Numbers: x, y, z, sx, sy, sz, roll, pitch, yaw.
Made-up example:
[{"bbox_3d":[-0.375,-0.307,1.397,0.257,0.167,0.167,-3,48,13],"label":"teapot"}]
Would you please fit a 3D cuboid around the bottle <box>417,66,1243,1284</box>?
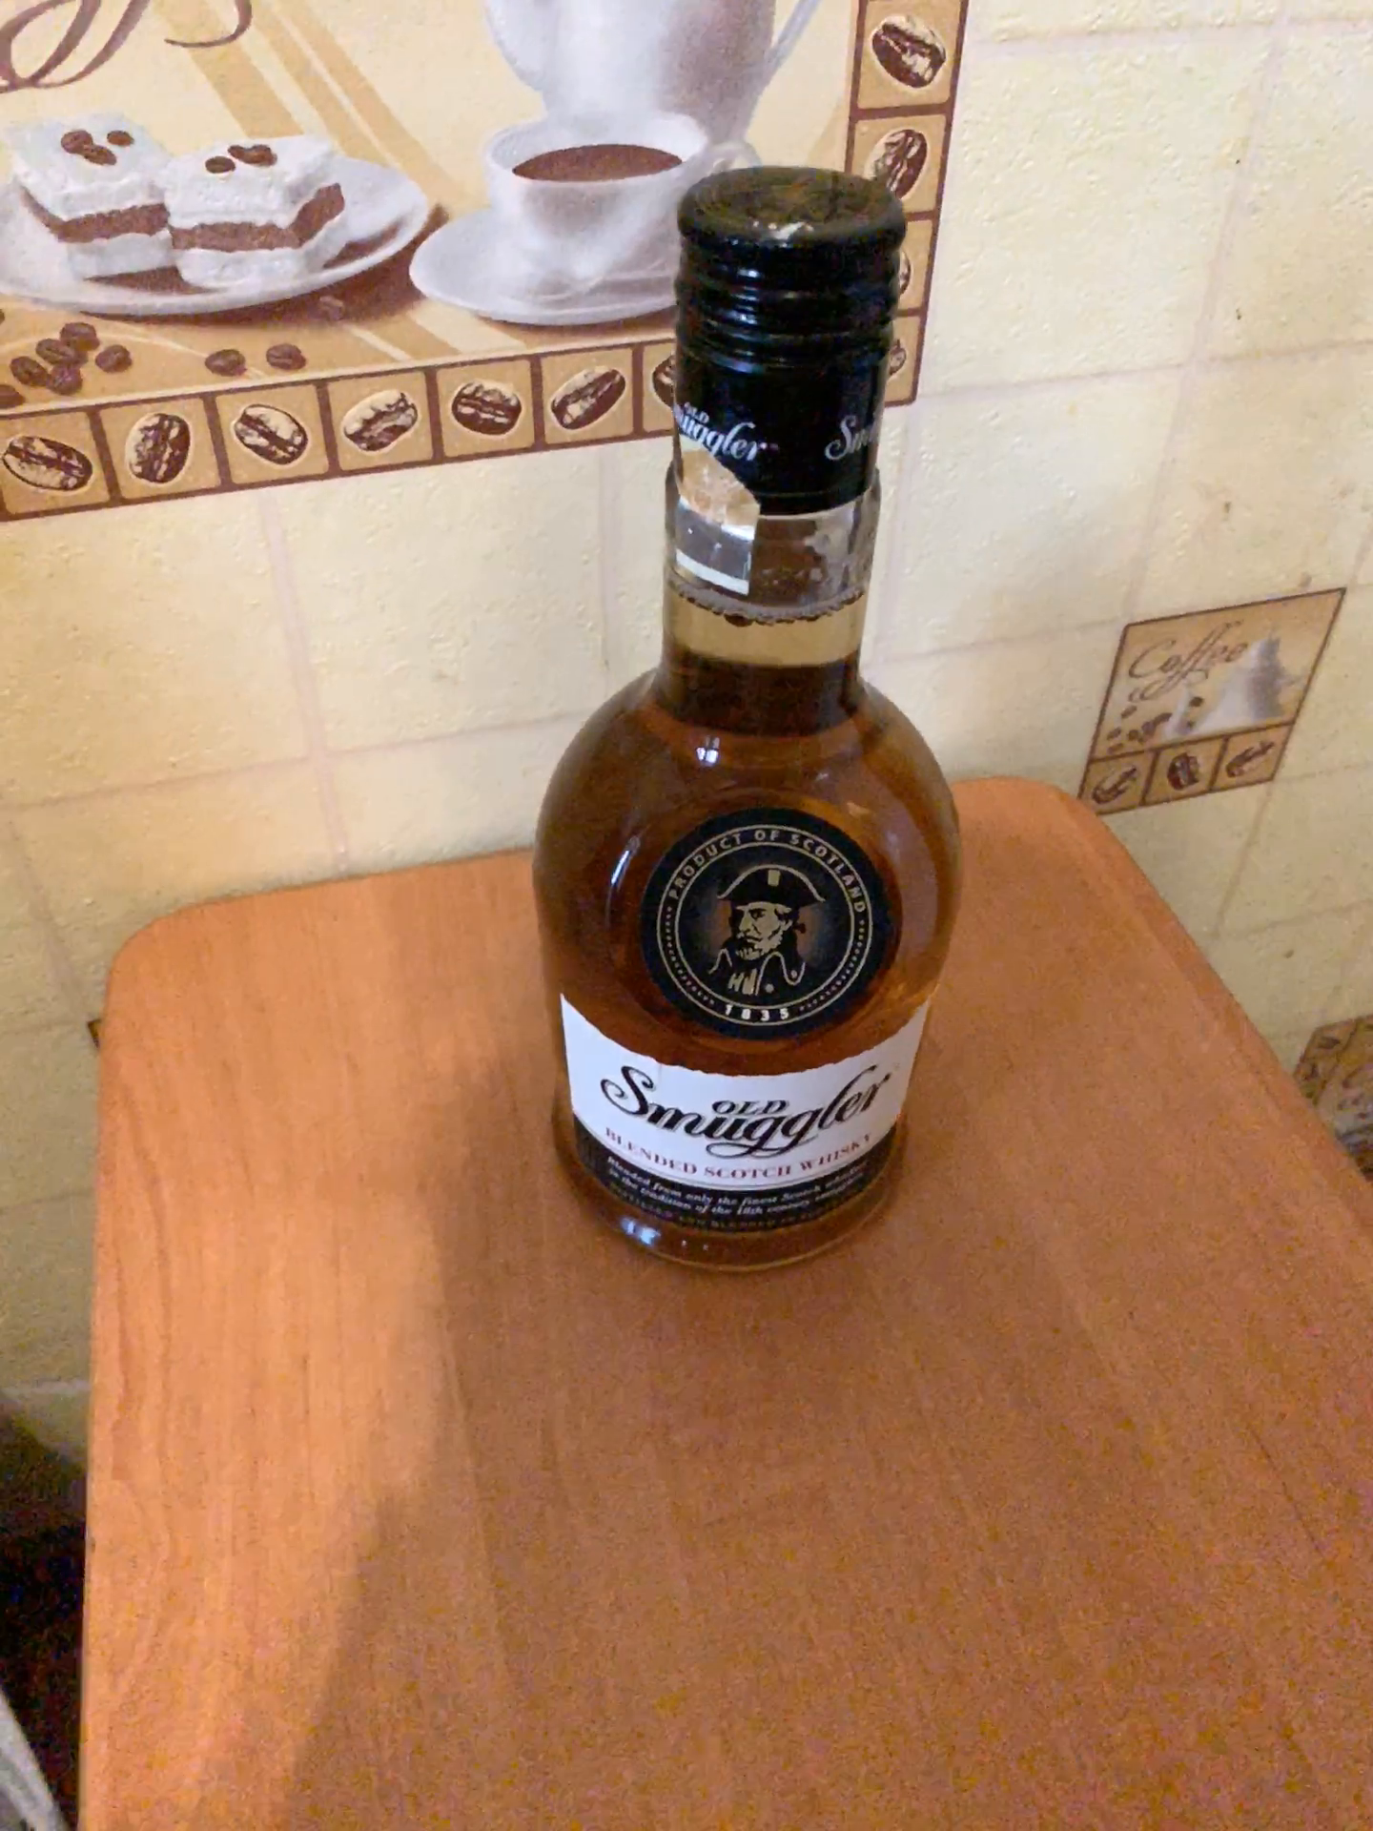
[{"bbox_3d":[0.015,-0.026,0.279,0.100,0.229,0.080,0,43,-2],"label":"bottle"}]
